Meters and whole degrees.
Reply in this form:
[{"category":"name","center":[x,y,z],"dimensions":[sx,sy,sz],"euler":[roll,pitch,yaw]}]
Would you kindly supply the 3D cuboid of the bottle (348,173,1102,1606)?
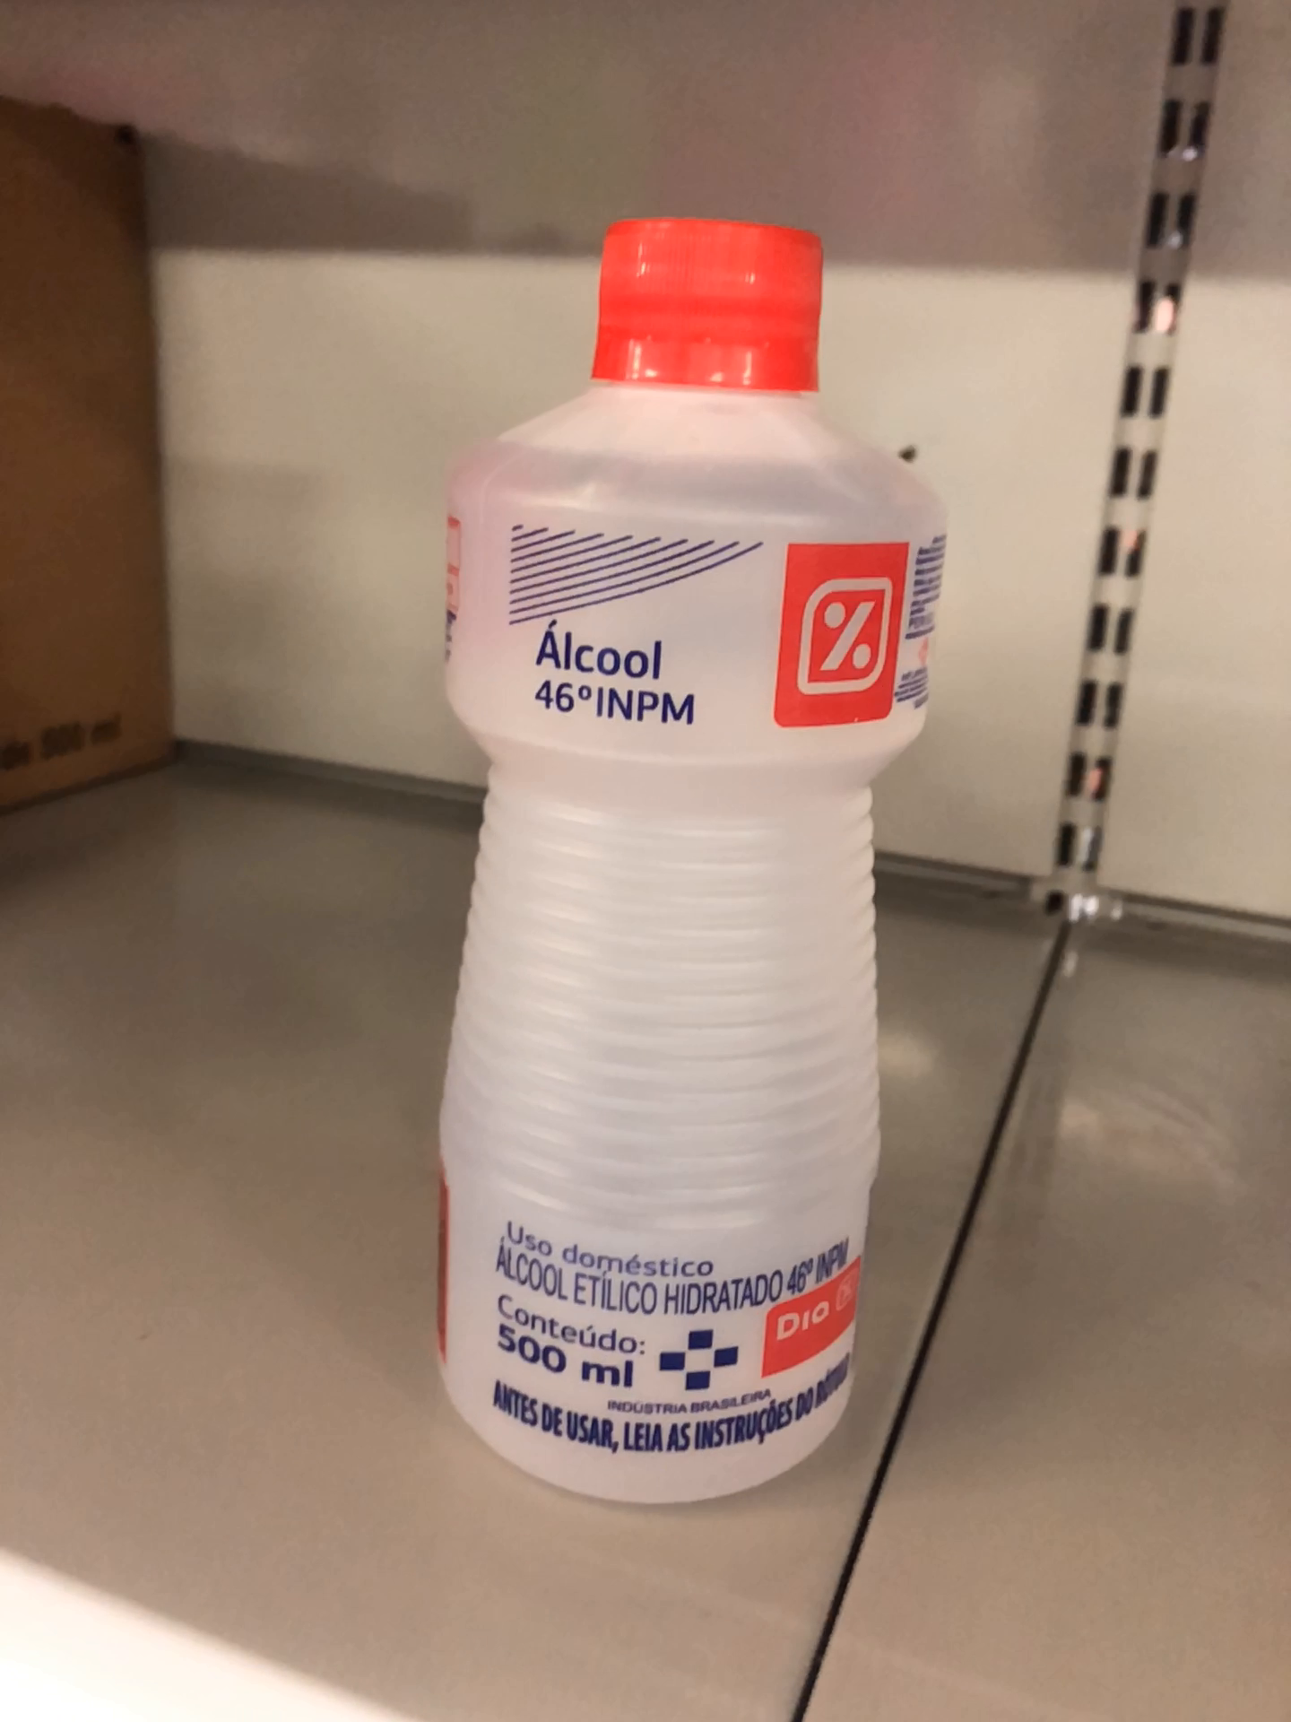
[{"category":"bottle","center":[0.010,0.002,0.217],"dimensions":[0.080,0.179,0.080],"euler":[2,17,-1]}]
